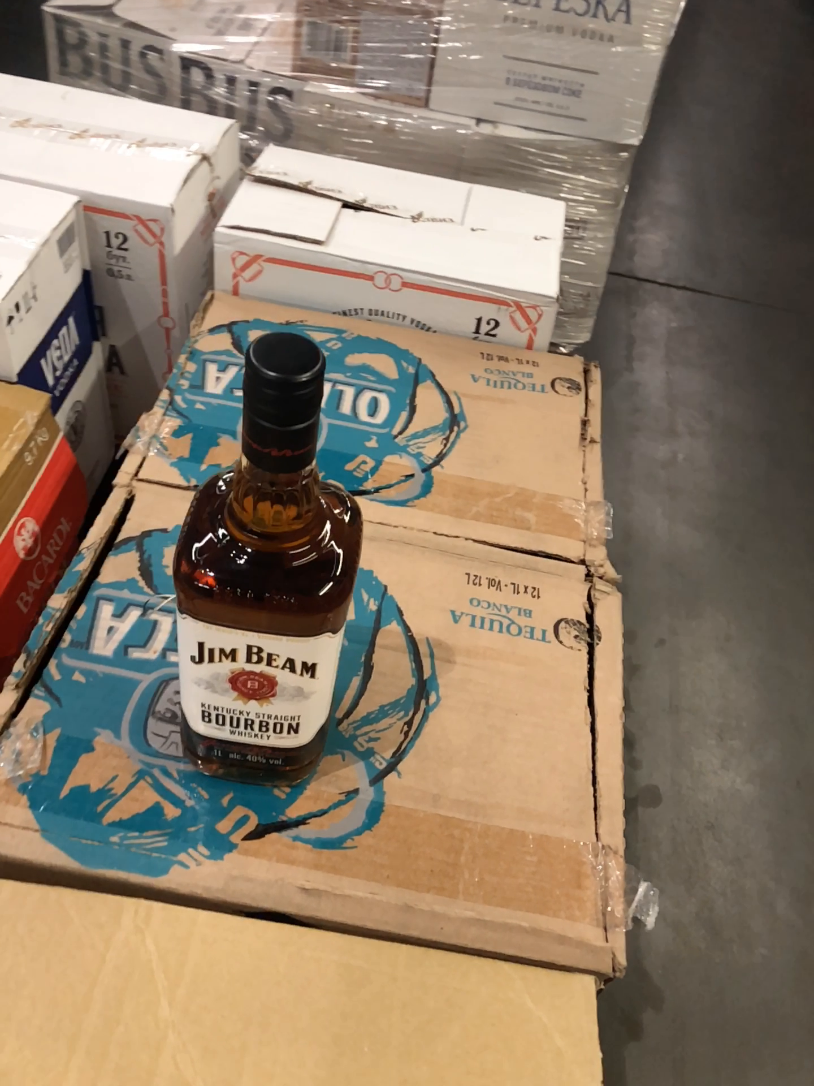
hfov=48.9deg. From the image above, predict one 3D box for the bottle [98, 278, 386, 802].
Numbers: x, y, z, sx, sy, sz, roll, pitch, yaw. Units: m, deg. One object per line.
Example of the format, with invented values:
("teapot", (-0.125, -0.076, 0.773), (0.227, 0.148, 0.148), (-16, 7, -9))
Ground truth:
("bottle", (-0.075, 0.018, 0.431), (0.090, 0.258, 0.087), (5, 47, -6))
